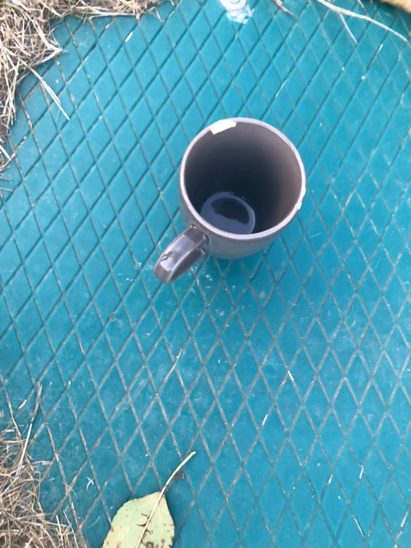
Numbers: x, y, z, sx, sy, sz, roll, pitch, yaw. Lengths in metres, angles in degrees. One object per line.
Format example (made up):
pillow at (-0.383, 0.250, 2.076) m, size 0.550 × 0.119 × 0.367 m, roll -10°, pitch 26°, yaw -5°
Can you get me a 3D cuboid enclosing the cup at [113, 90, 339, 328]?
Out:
cup at (0.012, -0.043, 0.340) m, size 0.090 × 0.086 × 0.126 m, roll 40°, pitch 75°, yaw 5°
